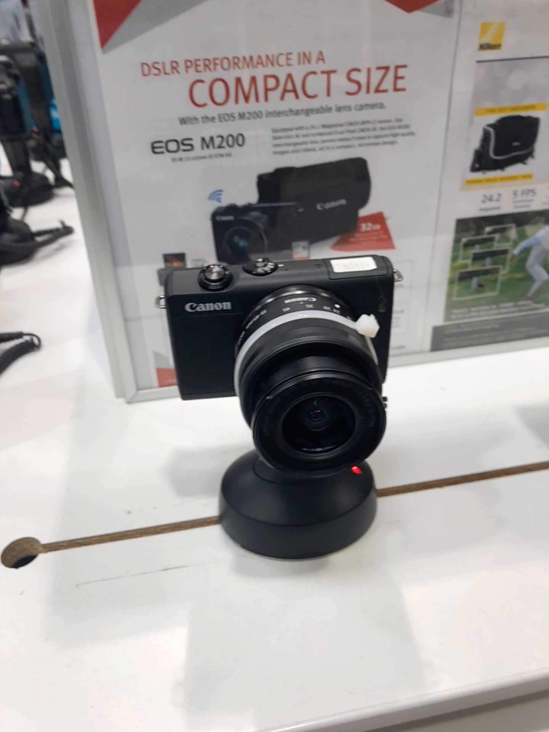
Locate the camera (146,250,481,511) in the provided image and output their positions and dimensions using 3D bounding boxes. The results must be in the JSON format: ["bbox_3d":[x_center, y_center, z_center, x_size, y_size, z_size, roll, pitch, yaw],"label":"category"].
[{"bbox_3d":[0.009,-0.002,0.281,0.120,0.050,0.121,-6,33,-5],"label":"camera"}]
